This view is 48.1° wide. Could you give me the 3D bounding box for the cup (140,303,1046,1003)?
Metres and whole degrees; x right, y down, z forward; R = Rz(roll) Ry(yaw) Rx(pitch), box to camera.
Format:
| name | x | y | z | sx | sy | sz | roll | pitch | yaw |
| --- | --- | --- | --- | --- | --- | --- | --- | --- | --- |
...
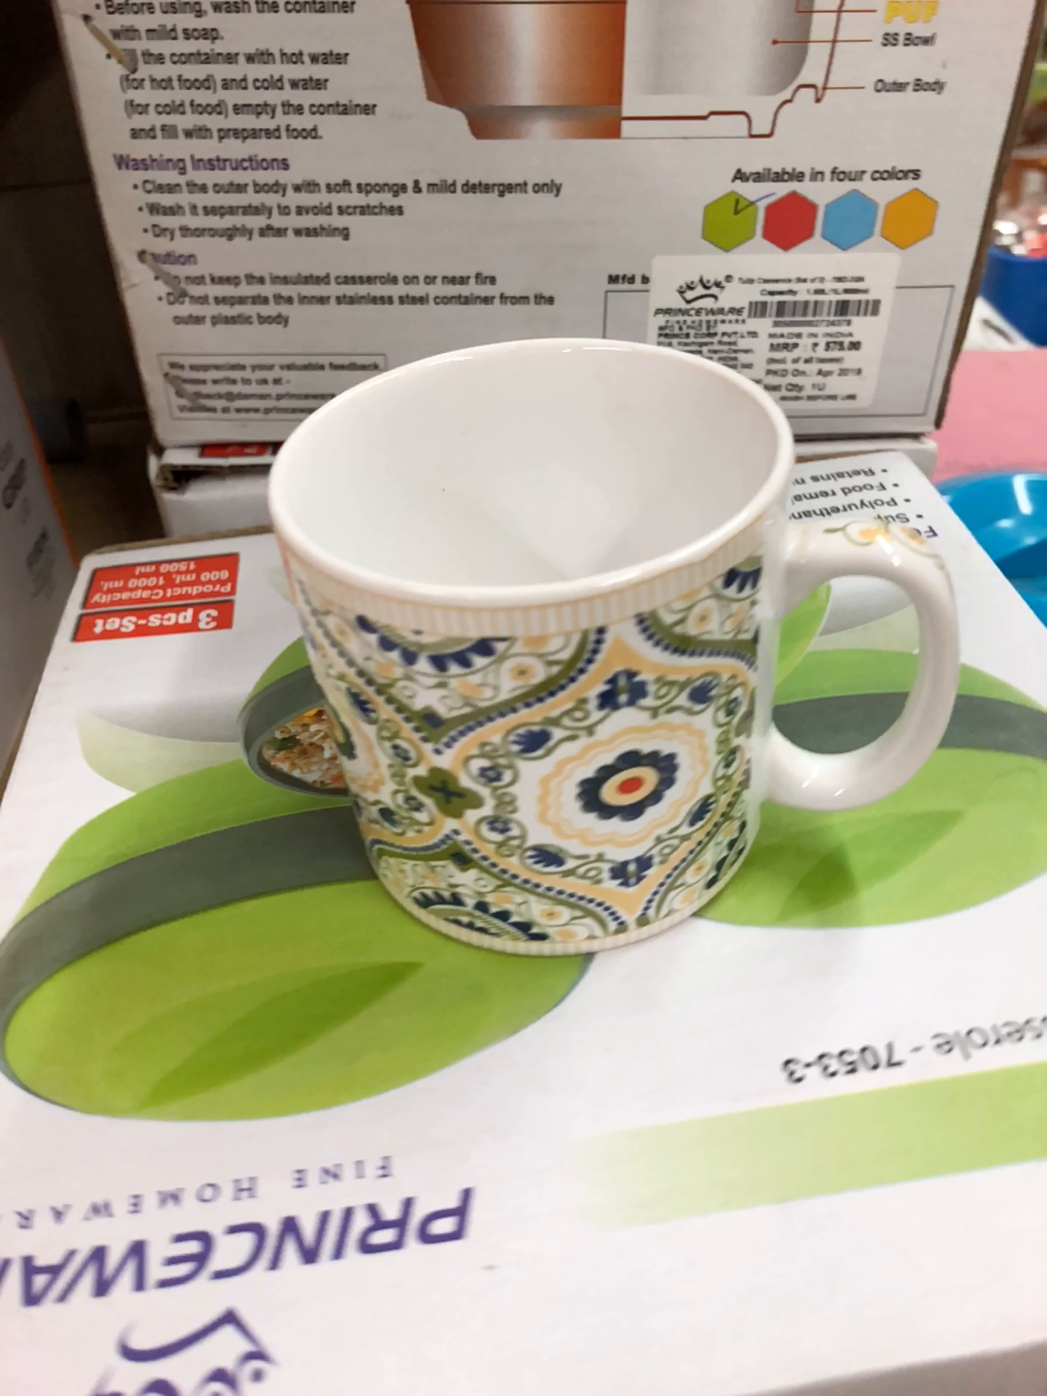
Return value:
| name | x | y | z | sx | sy | sz | roll | pitch | yaw |
| --- | --- | --- | --- | --- | --- | --- | --- | --- | --- |
| cup | 0.016 | -0.009 | 0.187 | 0.110 | 0.079 | 0.071 | 2 | 38 | 10 |
